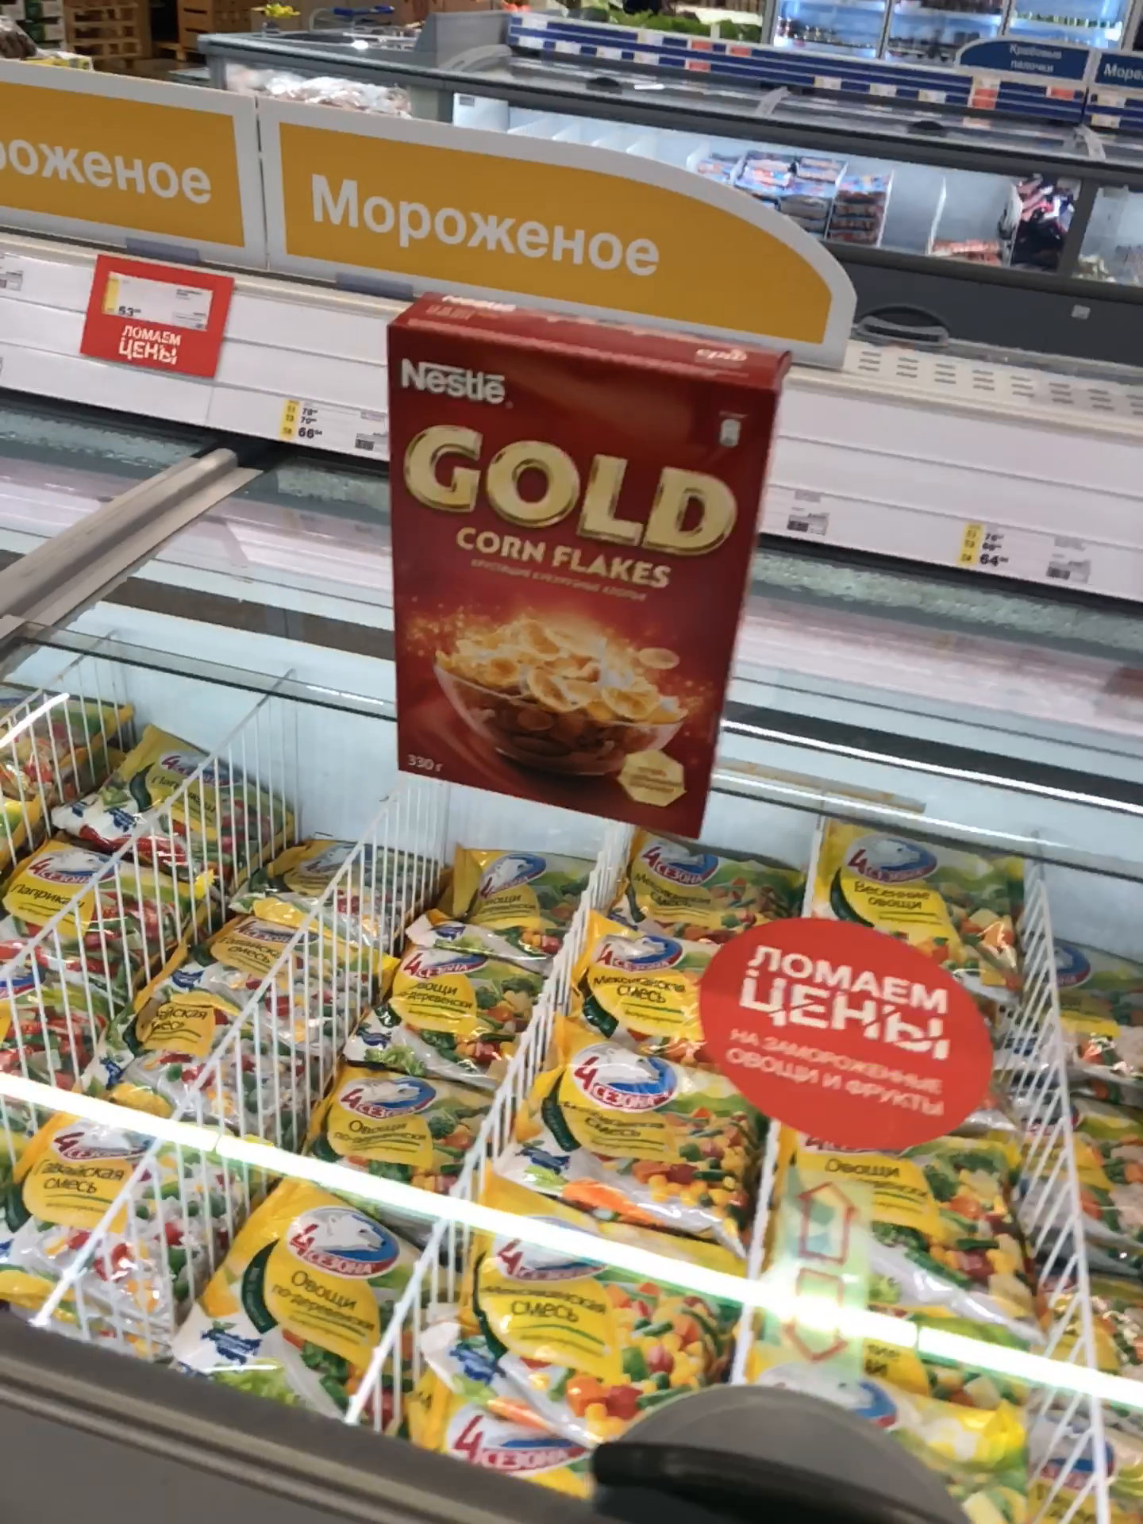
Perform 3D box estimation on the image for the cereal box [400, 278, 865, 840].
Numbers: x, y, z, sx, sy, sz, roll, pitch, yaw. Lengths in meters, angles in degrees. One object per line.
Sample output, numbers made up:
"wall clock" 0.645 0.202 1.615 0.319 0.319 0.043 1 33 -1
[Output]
"cereal box" 0.020 -0.100 0.662 0.210 0.258 0.060 13 38 10
